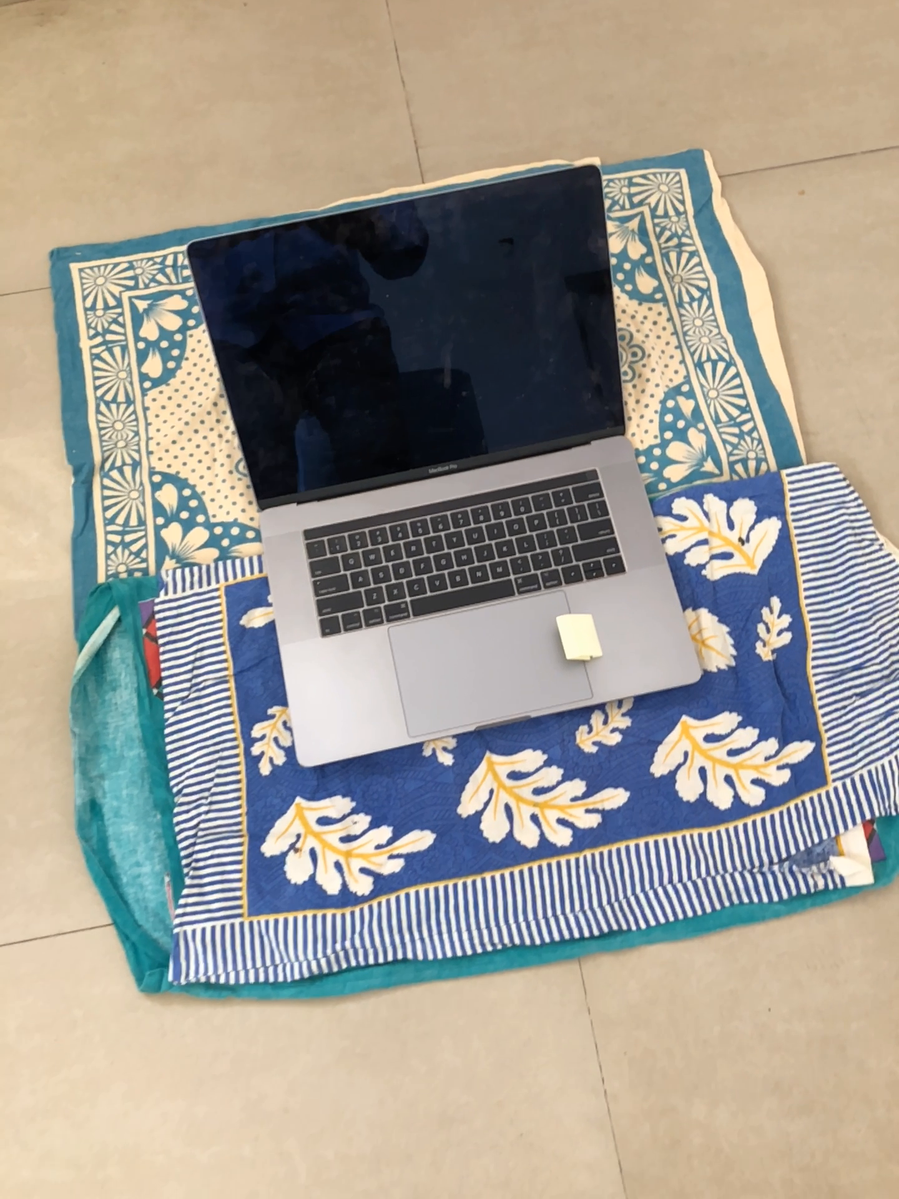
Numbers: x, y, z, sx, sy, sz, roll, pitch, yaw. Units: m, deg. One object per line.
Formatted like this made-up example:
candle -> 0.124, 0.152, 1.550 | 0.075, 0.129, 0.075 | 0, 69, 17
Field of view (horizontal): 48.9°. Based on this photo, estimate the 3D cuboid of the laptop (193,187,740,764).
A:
laptop -> -0.001, -0.103, 0.812 | 0.336, 0.132, 0.401 | -12, 73, -3
